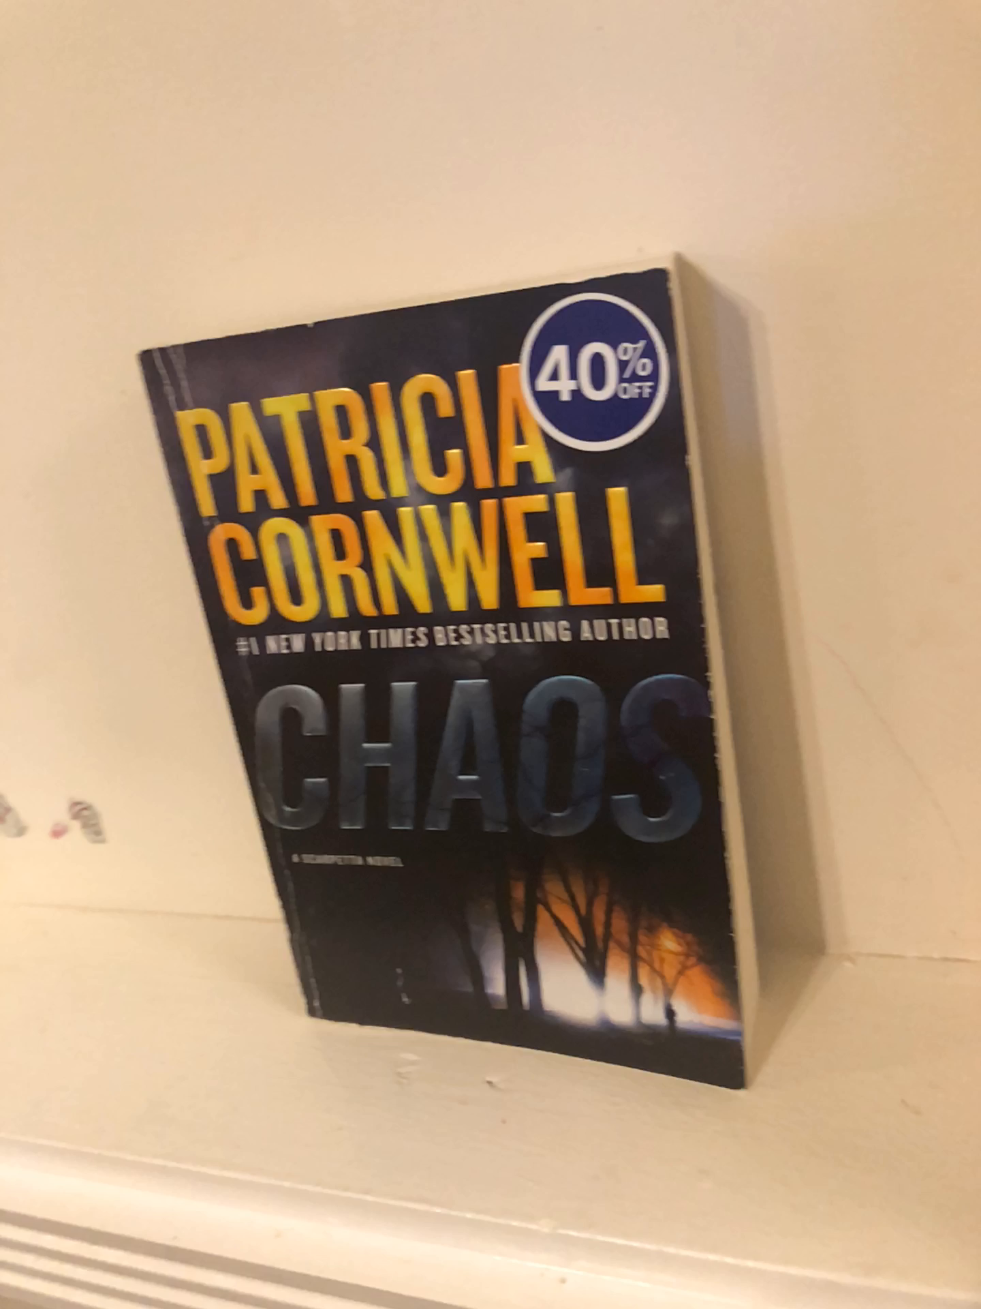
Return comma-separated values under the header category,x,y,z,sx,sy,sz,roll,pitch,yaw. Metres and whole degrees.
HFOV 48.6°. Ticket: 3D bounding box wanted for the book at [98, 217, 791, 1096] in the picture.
category,x,y,z,sx,sy,sz,roll,pitch,yaw
book,-0.010,0.004,0.320,0.170,0.219,0.050,0,16,27
